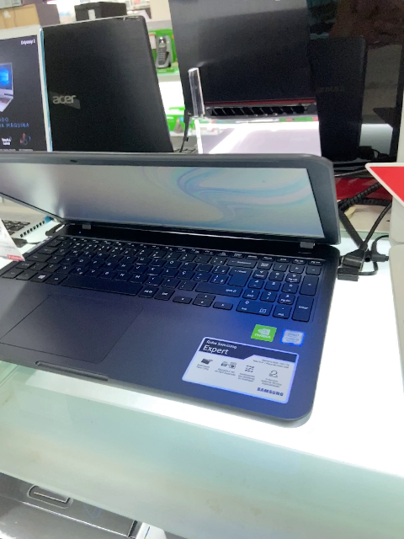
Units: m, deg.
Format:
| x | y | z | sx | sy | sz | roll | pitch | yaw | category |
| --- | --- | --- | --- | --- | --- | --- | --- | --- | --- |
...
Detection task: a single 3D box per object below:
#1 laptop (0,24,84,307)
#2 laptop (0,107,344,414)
| x | y | z | sx | sy | sz | roll | pitch | yaw | category |
| --- | --- | --- | --- | --- | --- | --- | --- | --- | --- |
| -0.440 | -0.169 | 0.580 | 0.368 | 0.240 | 0.332 | 6 | 33 | 22 | laptop |
| -0.073 | -0.045 | 0.390 | 0.365 | 0.146 | 0.232 | 6 | 33 | 20 | laptop |
